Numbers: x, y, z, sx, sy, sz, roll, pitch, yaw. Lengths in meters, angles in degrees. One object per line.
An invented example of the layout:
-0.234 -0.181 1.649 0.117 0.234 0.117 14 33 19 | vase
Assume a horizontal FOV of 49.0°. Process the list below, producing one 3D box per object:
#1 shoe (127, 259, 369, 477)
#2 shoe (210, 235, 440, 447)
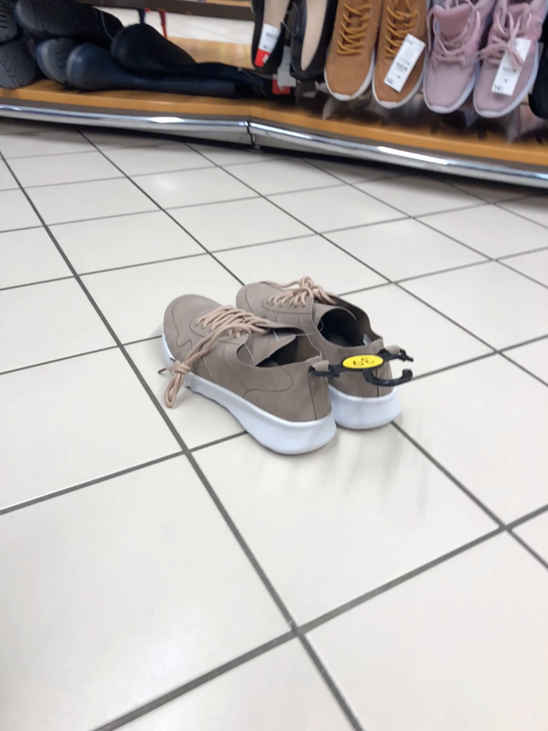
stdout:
-0.038 -0.013 0.605 0.100 0.079 0.258 -23 42 -33 | shoe
0.039 -0.041 0.645 0.100 0.099 0.254 -19 40 -30 | shoe
